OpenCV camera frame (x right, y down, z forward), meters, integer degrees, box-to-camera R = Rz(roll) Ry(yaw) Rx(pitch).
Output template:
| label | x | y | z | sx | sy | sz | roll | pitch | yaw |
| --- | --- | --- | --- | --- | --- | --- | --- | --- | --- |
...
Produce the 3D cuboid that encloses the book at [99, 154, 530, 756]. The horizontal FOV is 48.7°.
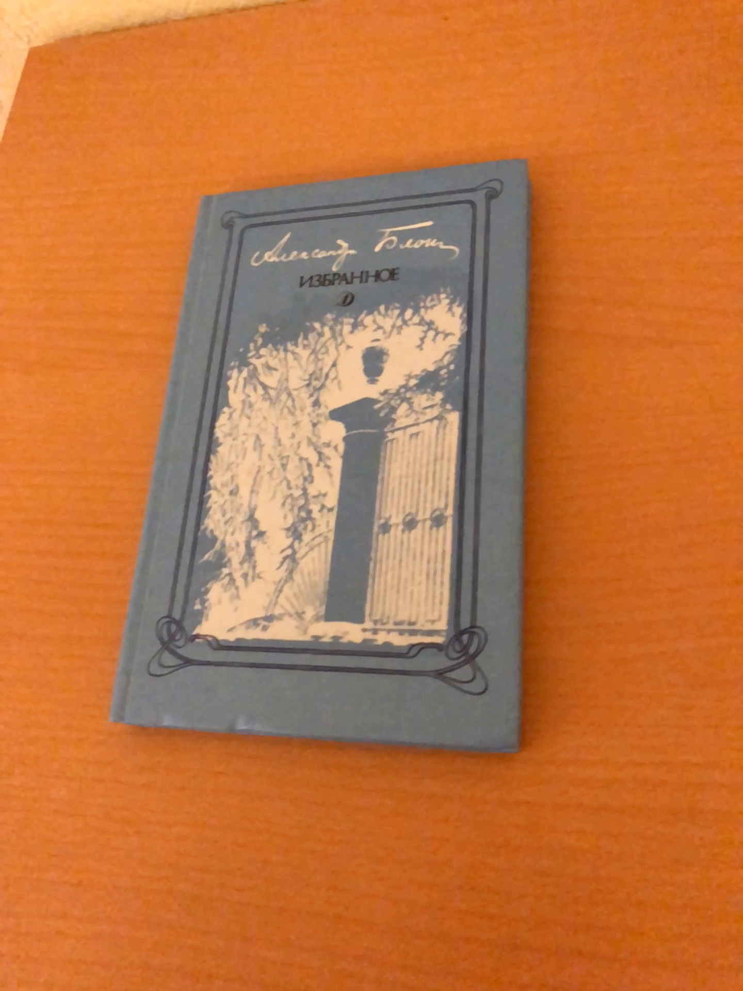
| label | x | y | z | sx | sy | sz | roll | pitch | yaw |
| --- | --- | --- | --- | --- | --- | --- | --- | --- | --- |
| book | -0.014 | -0.022 | 0.293 | 0.135 | 0.020 | 0.210 | -1 | 70 | 15 |
